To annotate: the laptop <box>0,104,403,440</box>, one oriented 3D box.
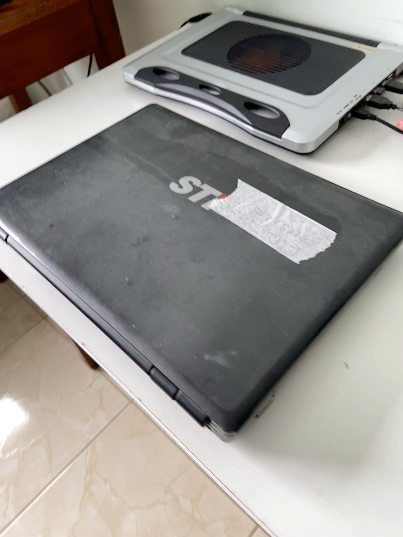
[{"bbox_3d":[-0.024,-0.050,0.384,0.338,0.006,0.235,34,61,30],"label":"laptop"}]
